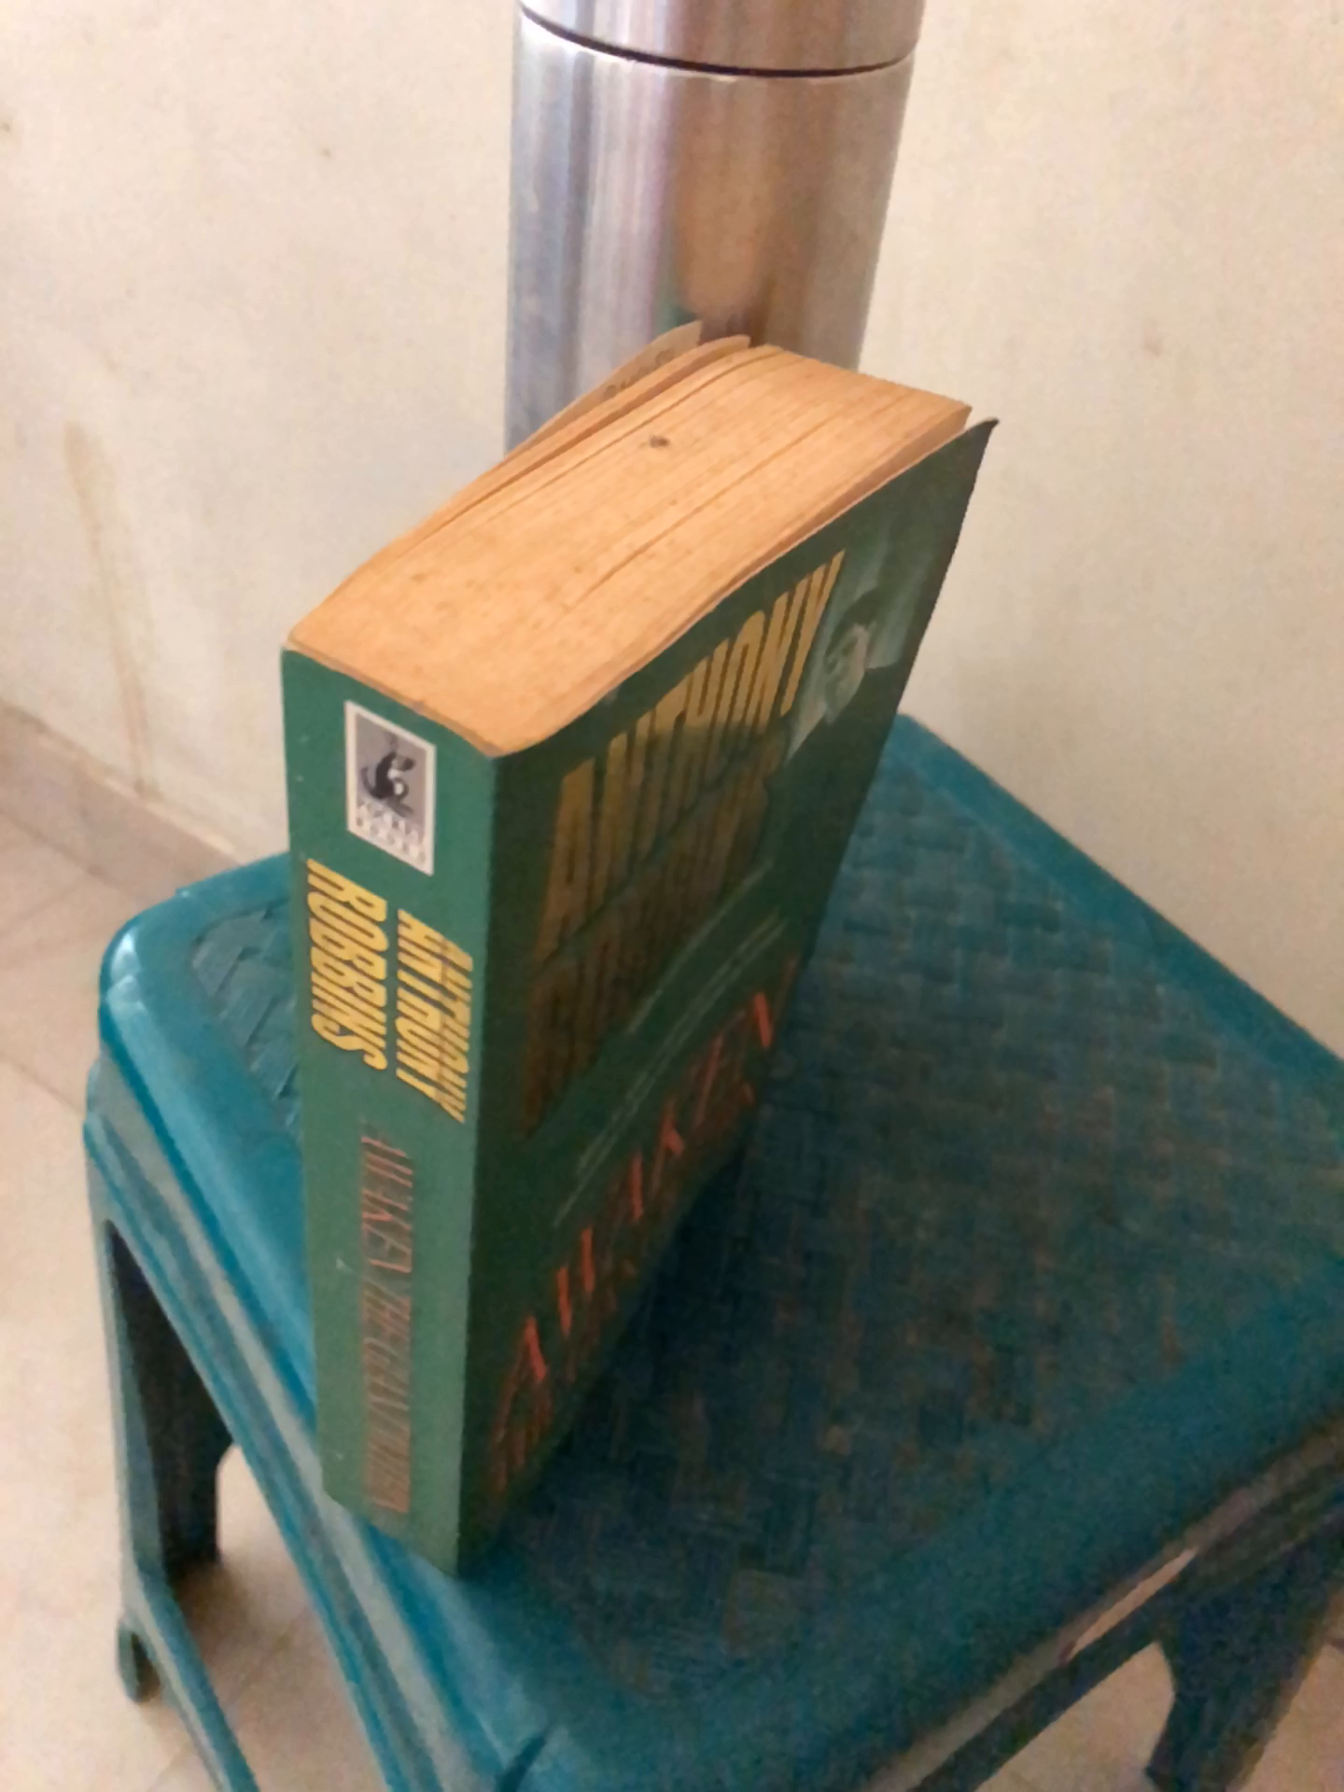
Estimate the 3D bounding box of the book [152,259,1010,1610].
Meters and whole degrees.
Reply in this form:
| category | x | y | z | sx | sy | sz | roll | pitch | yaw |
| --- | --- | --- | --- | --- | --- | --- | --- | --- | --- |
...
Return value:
| category | x | y | z | sx | sy | sz | roll | pitch | yaw |
| --- | --- | --- | --- | --- | --- | --- | --- | --- | --- |
| book | -0.011 | 0.013 | 0.271 | 0.050 | 0.199 | 0.141 | 24 | 45 | 17 |
